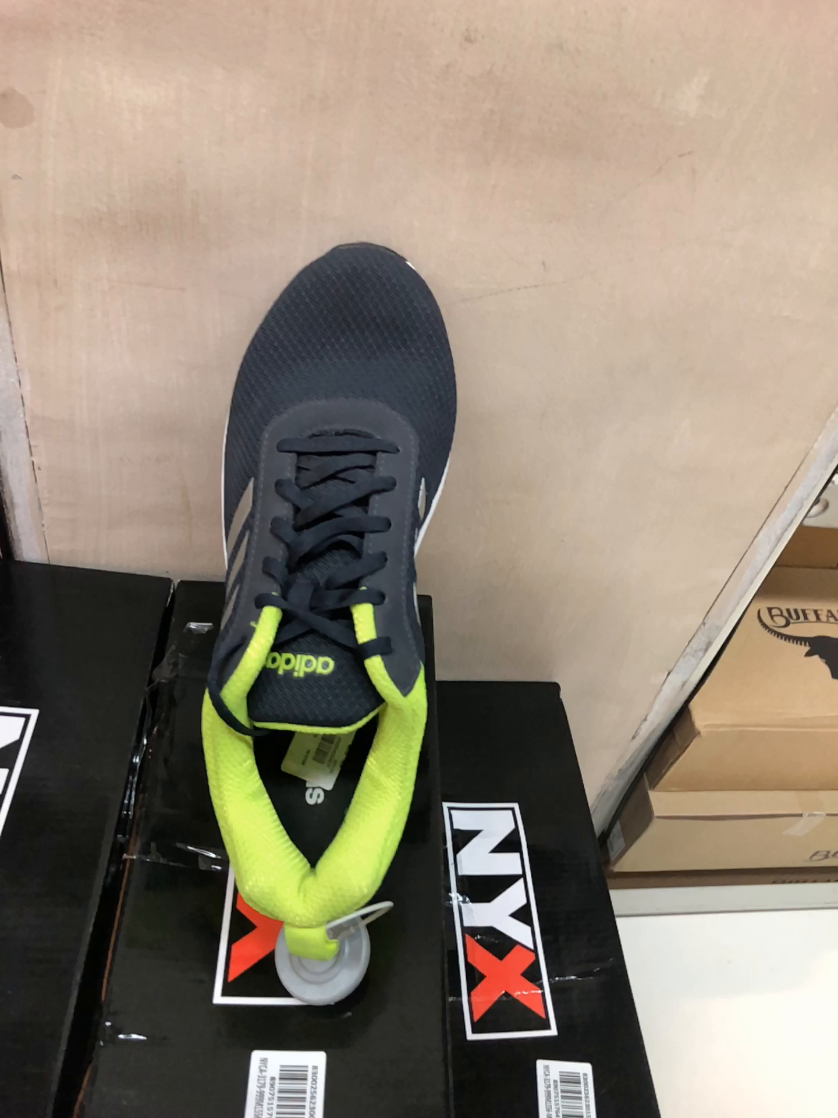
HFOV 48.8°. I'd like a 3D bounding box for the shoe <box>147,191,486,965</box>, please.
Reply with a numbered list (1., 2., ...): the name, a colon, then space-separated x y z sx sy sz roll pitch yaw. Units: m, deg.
1. shoe: -0.035 0.006 0.377 0.104 0.098 0.272 3 81 -4
